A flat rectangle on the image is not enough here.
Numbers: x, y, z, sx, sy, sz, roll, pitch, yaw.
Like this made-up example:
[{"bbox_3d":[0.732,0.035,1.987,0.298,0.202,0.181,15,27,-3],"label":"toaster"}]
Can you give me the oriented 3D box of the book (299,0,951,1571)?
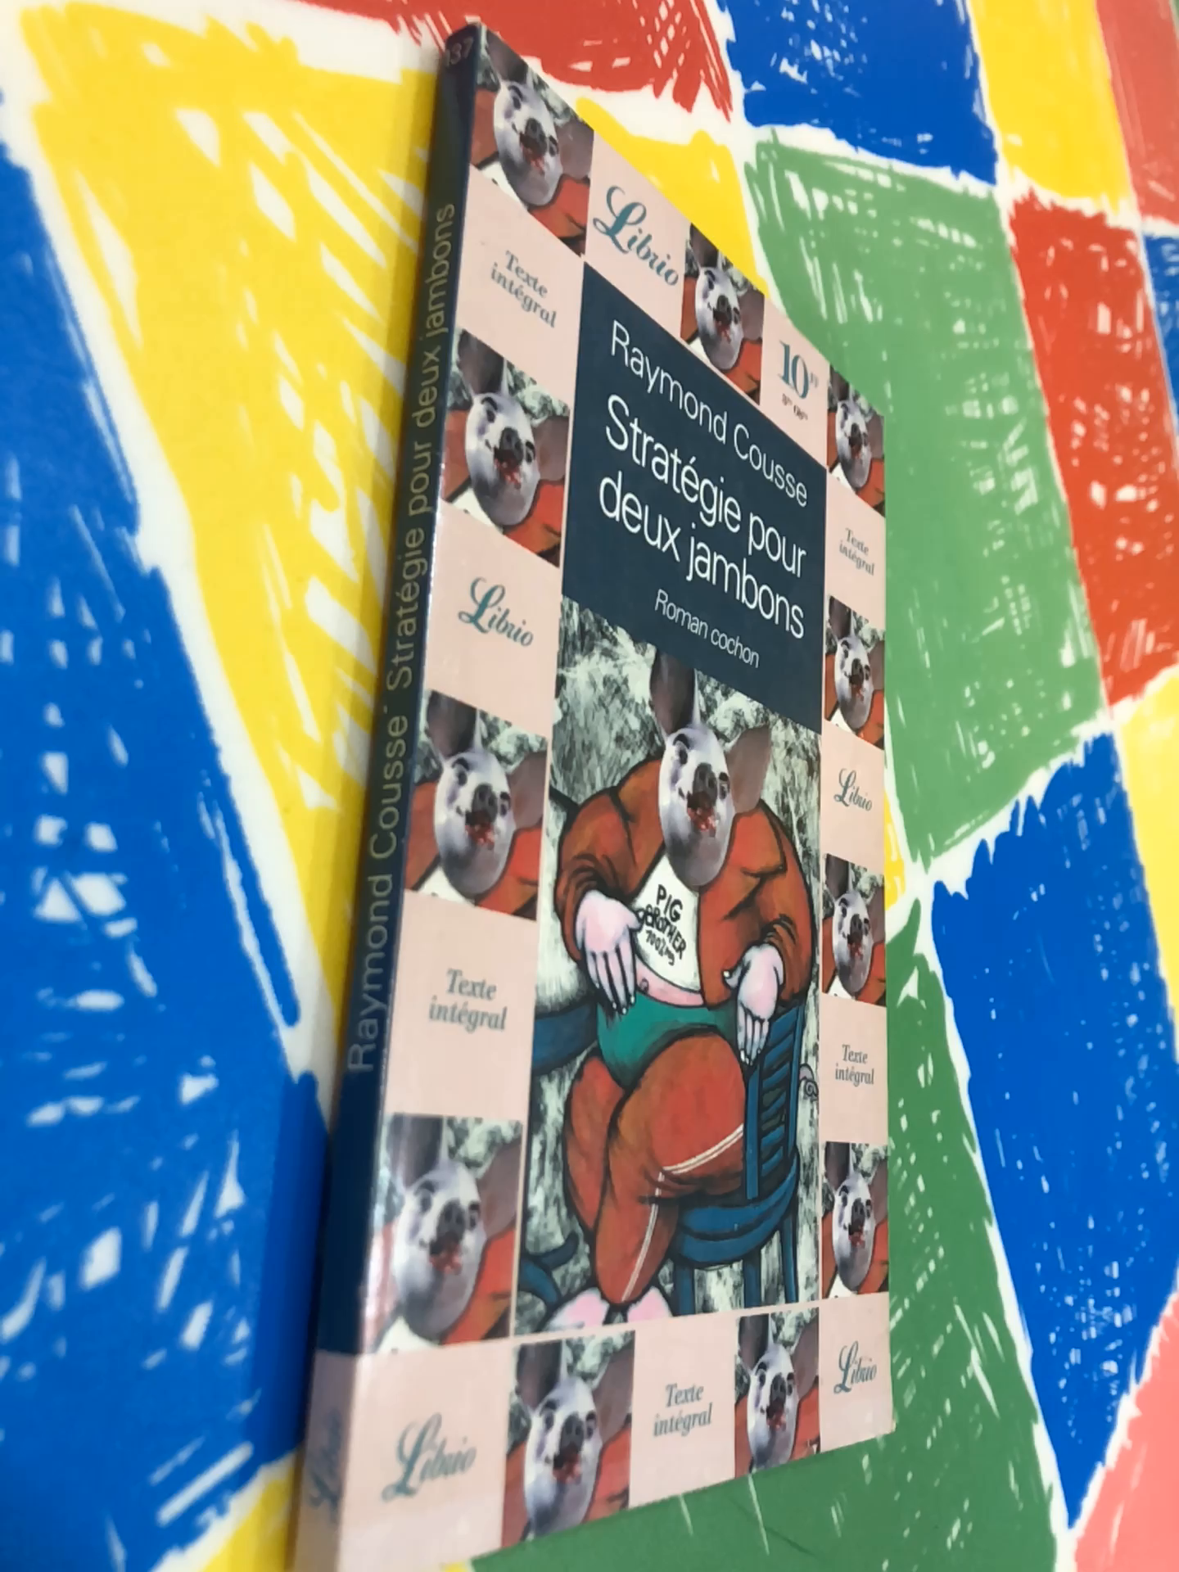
[{"bbox_3d":[0.021,0.002,0.205,0.131,0.013,0.197,20,67,-49],"label":"book"}]
